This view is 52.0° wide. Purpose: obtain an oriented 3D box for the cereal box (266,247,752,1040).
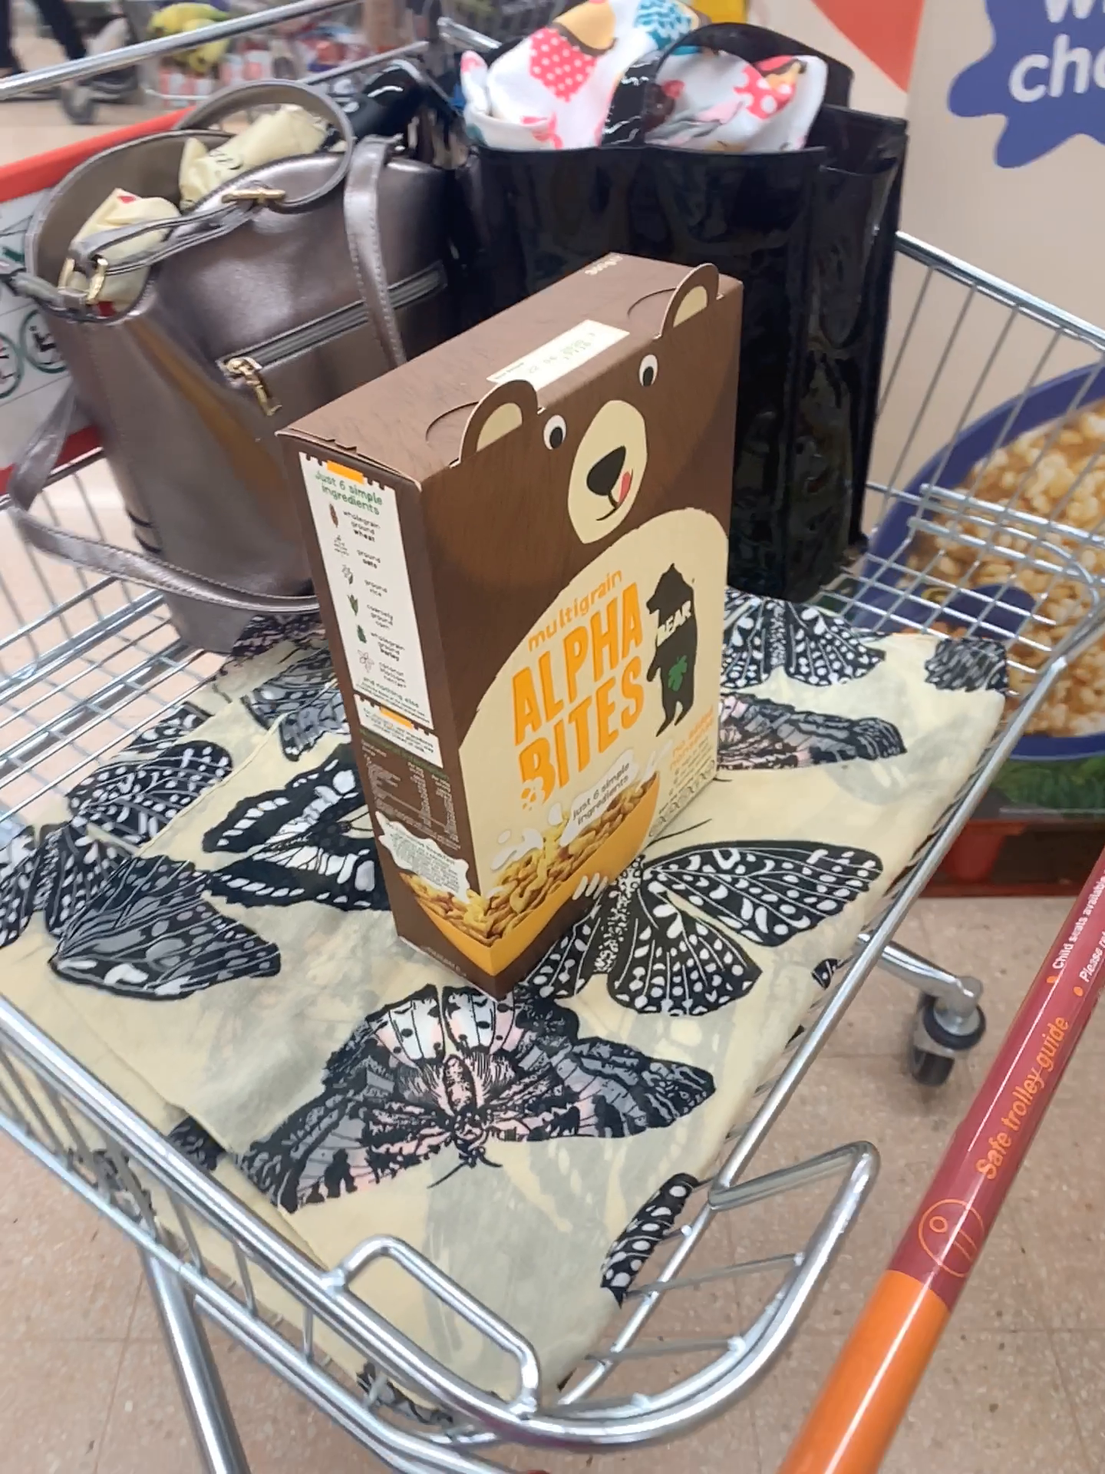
[{"bbox_3d":[-0.001,-0.035,0.519,0.070,0.297,0.201,25,48,29],"label":"cereal box"}]
